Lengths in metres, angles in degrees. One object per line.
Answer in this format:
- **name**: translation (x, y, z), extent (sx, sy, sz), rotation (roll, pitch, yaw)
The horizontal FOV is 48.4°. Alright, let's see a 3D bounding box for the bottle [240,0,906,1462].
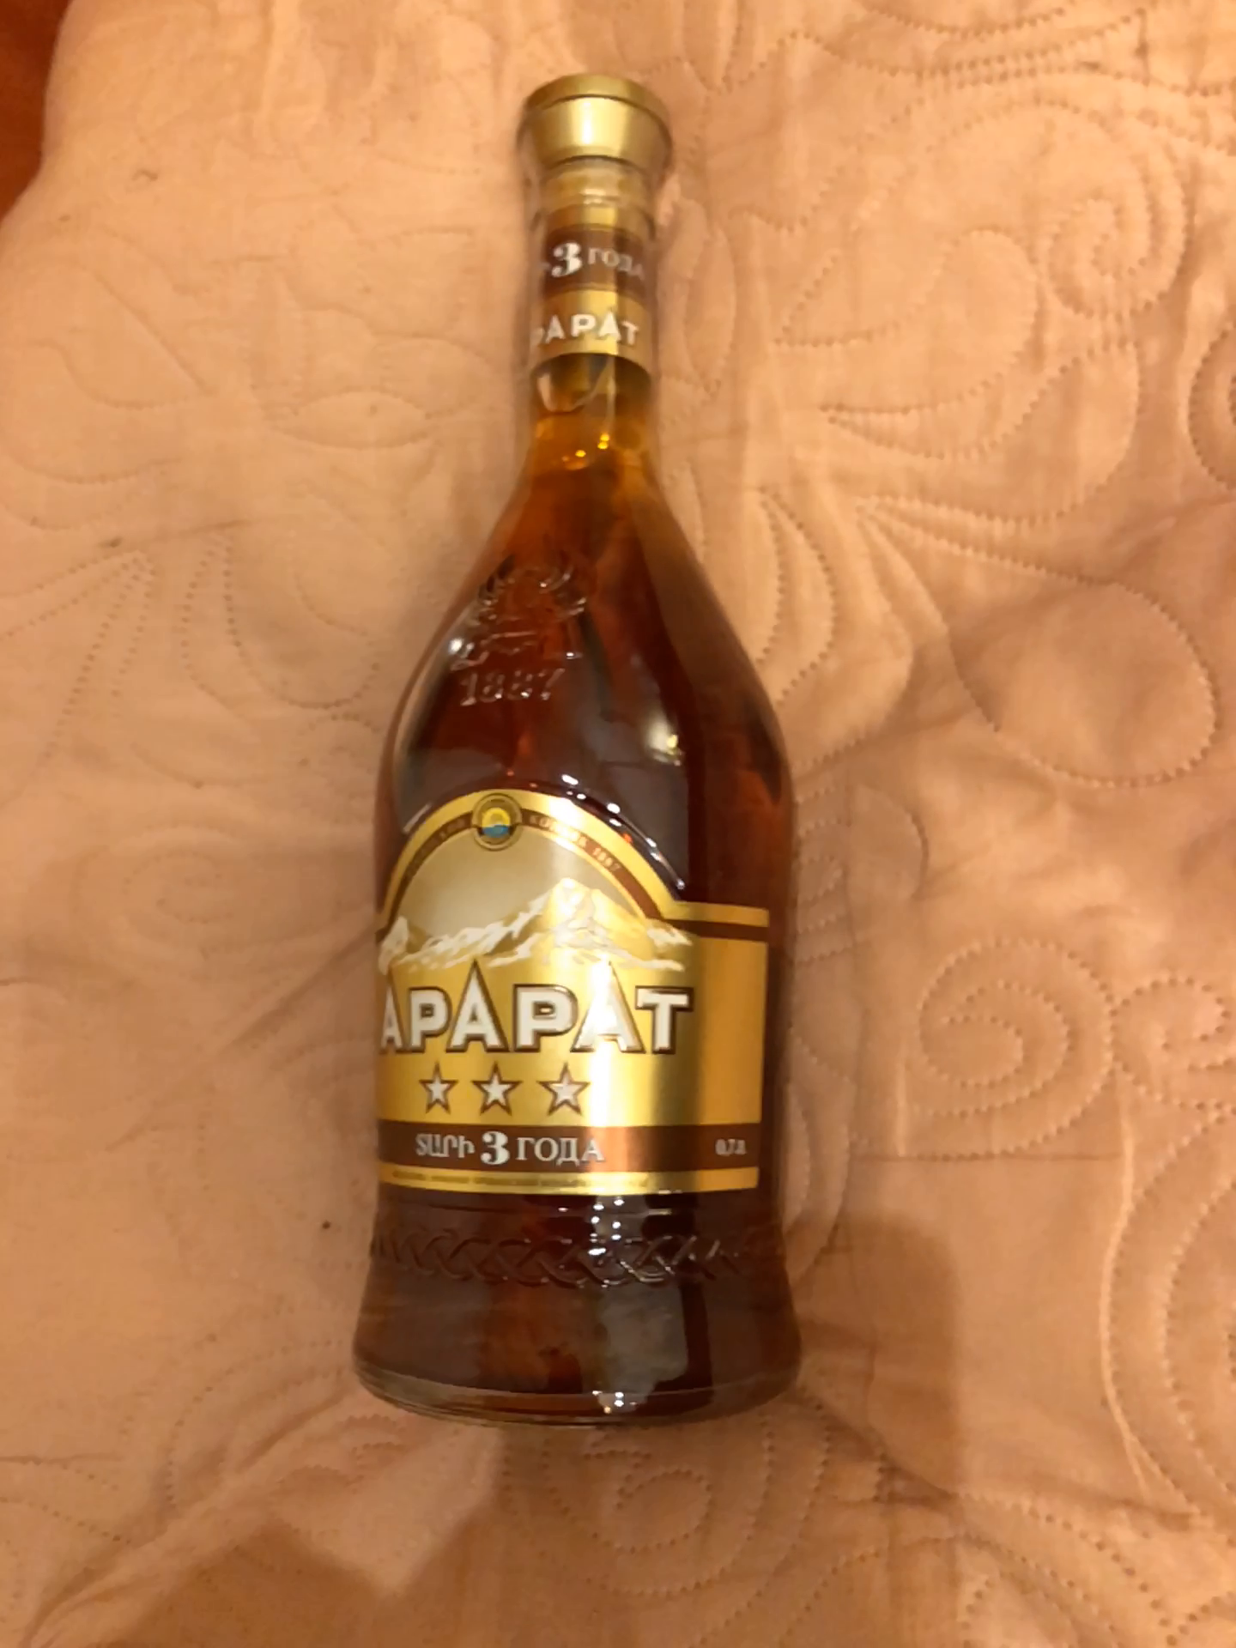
- **bottle**: translation (-0.003, -0.021, 0.285), extent (0.090, 0.090, 0.258), rotation (-7, 75, 28)
